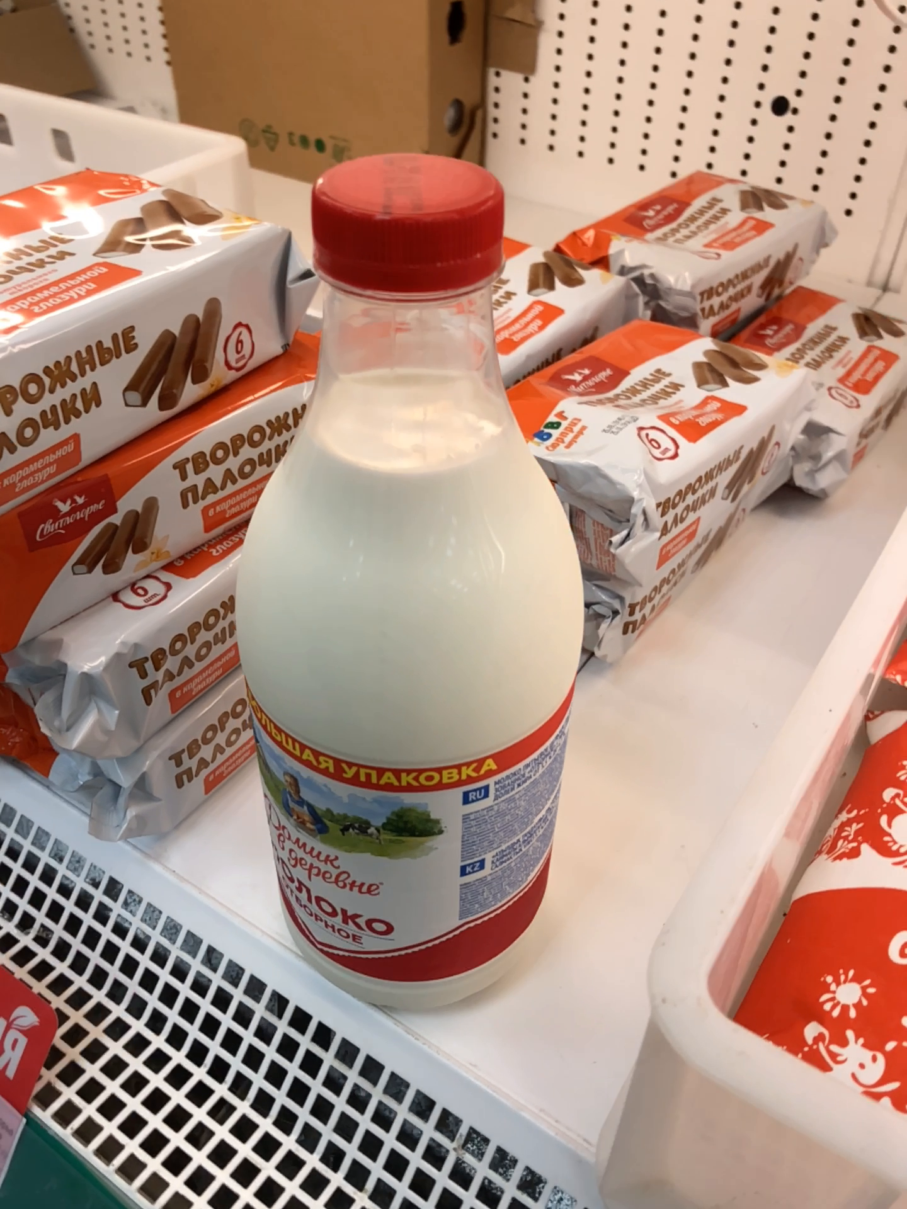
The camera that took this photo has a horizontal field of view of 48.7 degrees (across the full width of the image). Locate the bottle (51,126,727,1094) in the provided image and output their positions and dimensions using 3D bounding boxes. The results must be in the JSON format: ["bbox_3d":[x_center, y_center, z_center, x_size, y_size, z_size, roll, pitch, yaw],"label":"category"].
[{"bbox_3d":[-0.012,0.015,0.290,0.100,0.249,0.100,0,41,0],"label":"bottle"}]
